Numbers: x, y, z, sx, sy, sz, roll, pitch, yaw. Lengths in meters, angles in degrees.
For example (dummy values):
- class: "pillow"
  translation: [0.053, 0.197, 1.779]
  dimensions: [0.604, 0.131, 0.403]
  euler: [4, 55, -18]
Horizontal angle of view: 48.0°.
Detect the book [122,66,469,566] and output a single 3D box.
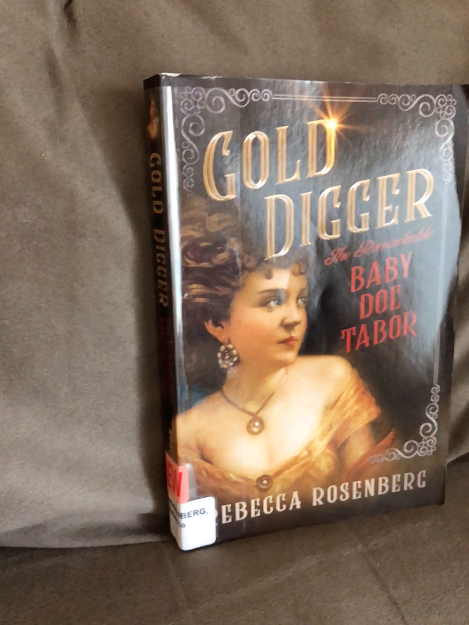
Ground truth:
- class: "book"
  translation: [0.035, 0.000, 0.237]
  dimensions: [0.150, 0.200, 0.030]
  euler: [-5, 10, -12]
